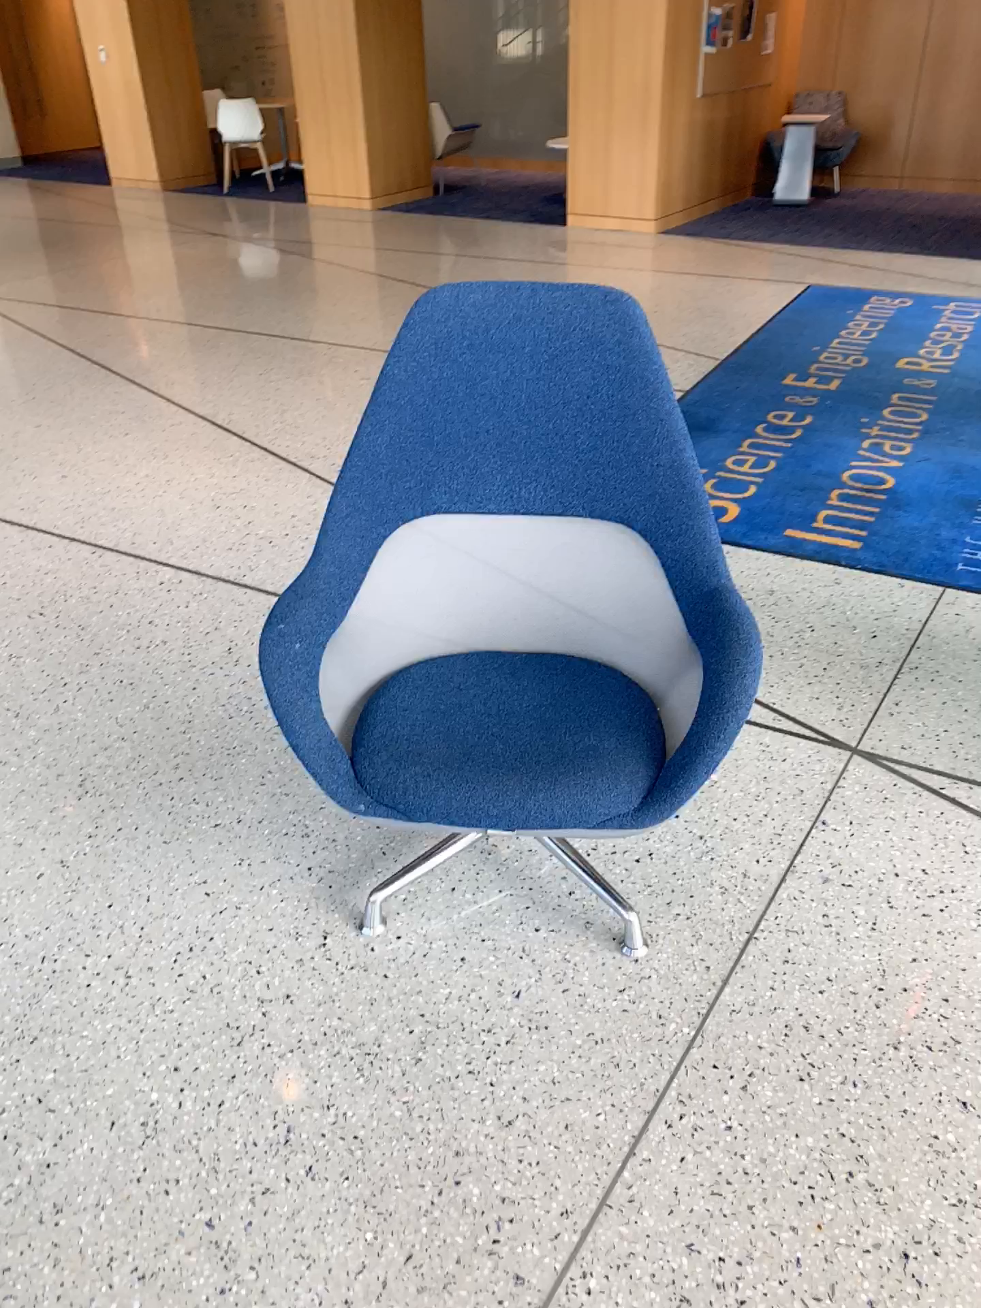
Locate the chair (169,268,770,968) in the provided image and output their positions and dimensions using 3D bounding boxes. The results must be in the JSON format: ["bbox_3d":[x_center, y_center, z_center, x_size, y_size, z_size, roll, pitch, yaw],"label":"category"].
[{"bbox_3d":[0.023,-0.108,1.768,0.724,0.933,0.791,2,32,7],"label":"chair"}]
